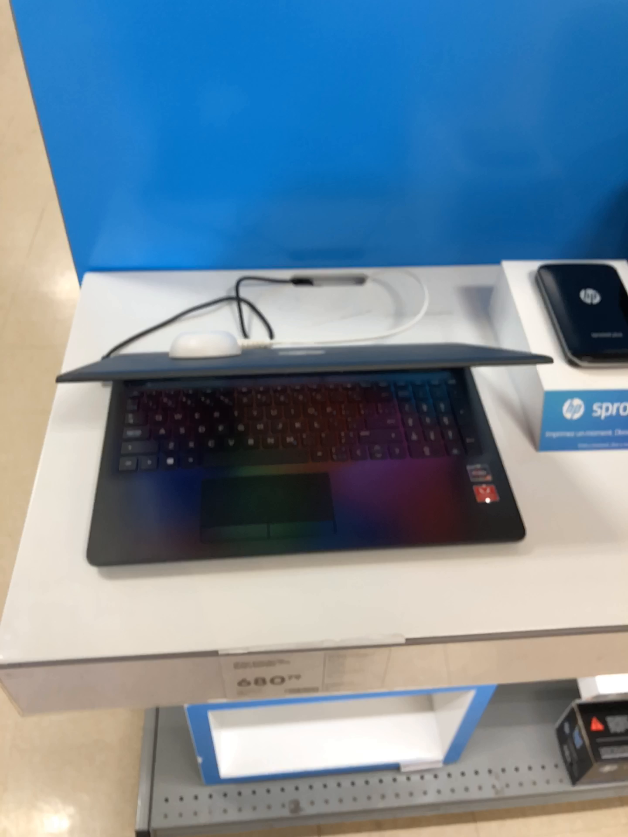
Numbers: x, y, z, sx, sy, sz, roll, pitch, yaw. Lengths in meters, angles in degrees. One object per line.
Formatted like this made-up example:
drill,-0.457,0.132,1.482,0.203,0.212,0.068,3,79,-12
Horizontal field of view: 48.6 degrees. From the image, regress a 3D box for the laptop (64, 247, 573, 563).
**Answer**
laptop,-0.004,-0.026,0.610,0.355,0.130,0.243,-2,46,-7
